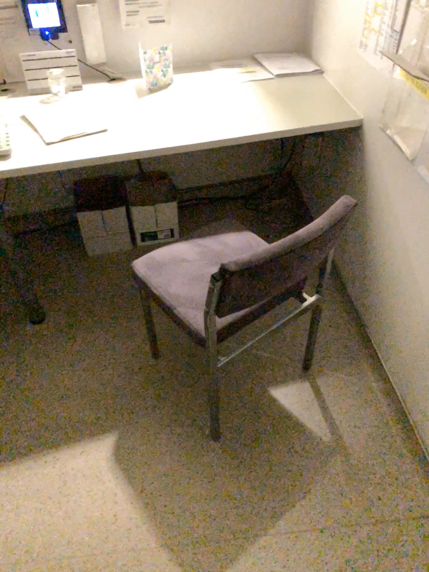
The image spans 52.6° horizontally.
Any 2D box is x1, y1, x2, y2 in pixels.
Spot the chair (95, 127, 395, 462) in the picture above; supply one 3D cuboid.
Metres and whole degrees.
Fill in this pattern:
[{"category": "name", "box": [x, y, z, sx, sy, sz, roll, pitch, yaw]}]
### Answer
[{"category": "chair", "box": [0.068, 0.003, 1.335, 0.542, 0.693, 0.544, -28, 48, -27]}]
